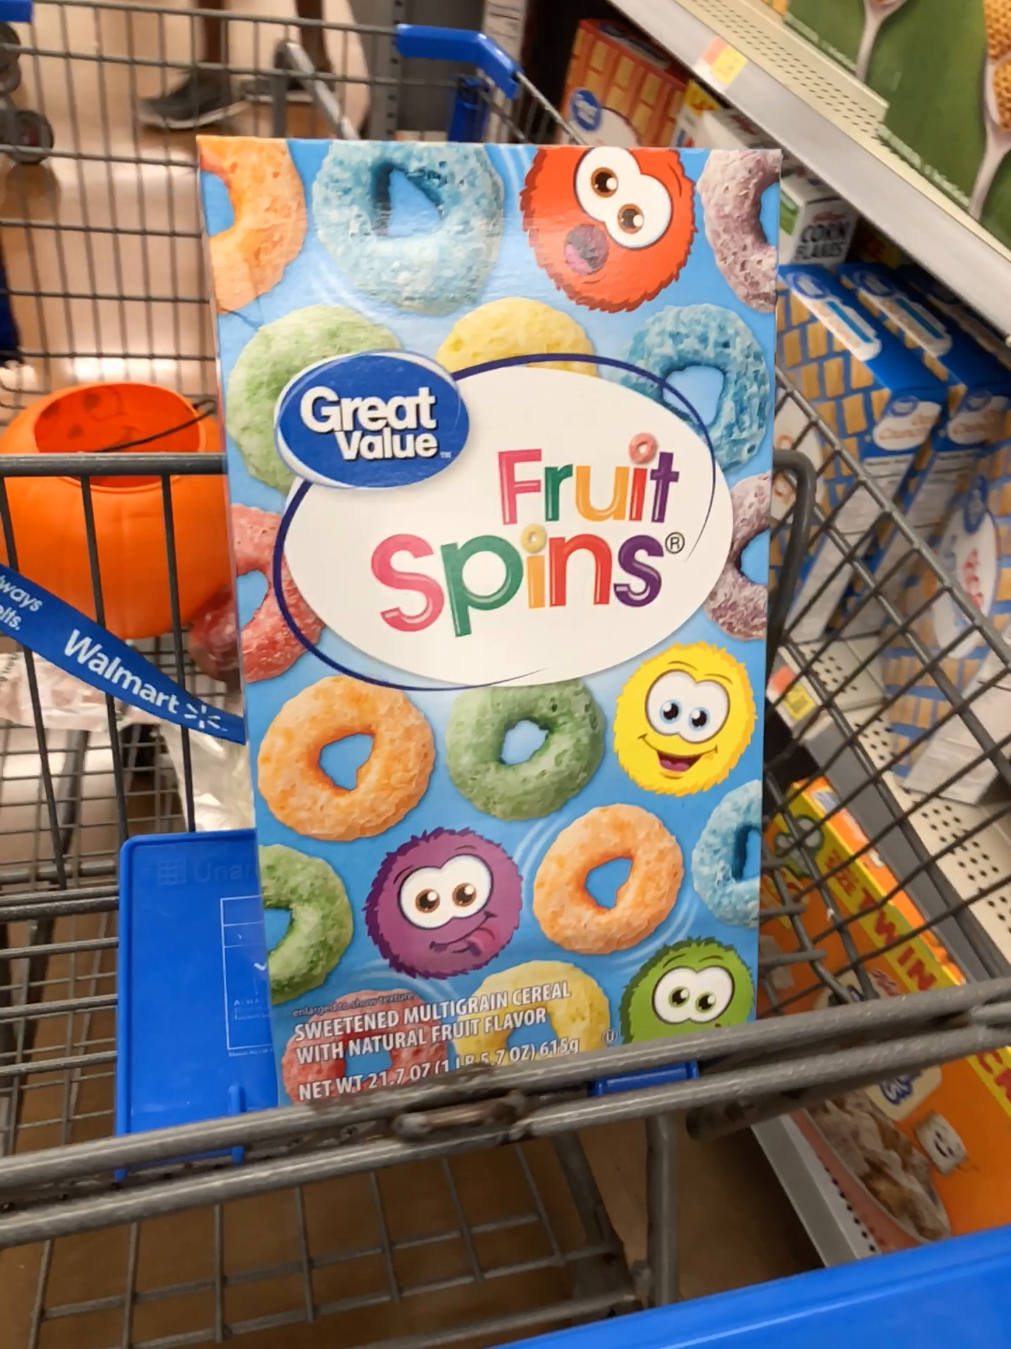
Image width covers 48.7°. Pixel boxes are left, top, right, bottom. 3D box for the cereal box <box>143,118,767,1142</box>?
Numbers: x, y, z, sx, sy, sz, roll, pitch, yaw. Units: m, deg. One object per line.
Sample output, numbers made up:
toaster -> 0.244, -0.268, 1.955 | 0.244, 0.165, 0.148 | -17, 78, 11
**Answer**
cereal box -> -0.018, -0.014, 0.432 | 0.200, 0.340, 0.090 | -5, 15, -16
